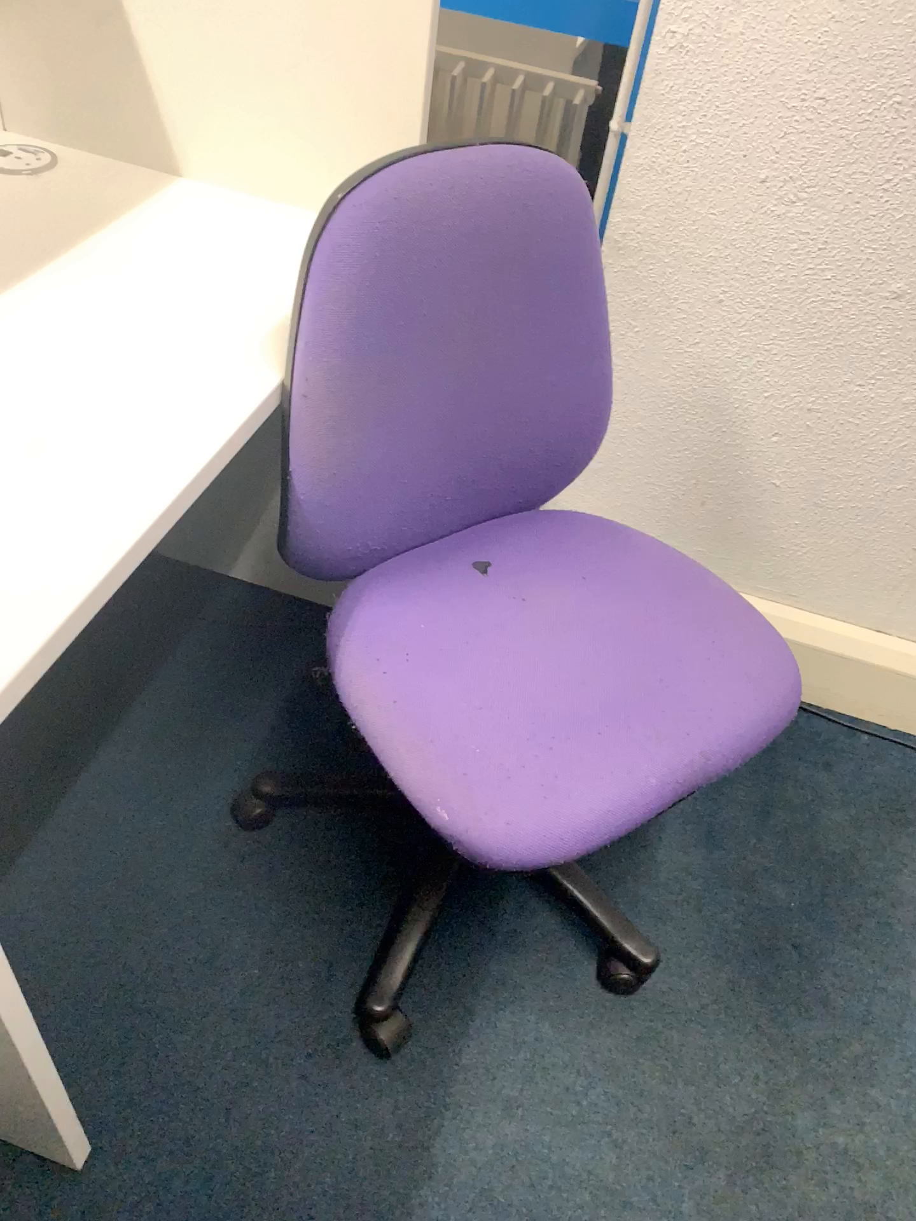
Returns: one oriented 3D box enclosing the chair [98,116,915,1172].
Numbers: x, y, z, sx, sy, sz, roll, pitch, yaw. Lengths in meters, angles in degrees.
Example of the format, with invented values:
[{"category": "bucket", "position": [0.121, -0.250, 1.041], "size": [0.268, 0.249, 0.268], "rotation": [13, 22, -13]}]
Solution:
[{"category": "chair", "position": [0.094, 0.011, 1.103], "size": [0.693, 0.862, 0.654], "rotation": [-21, 51, -29]}]
